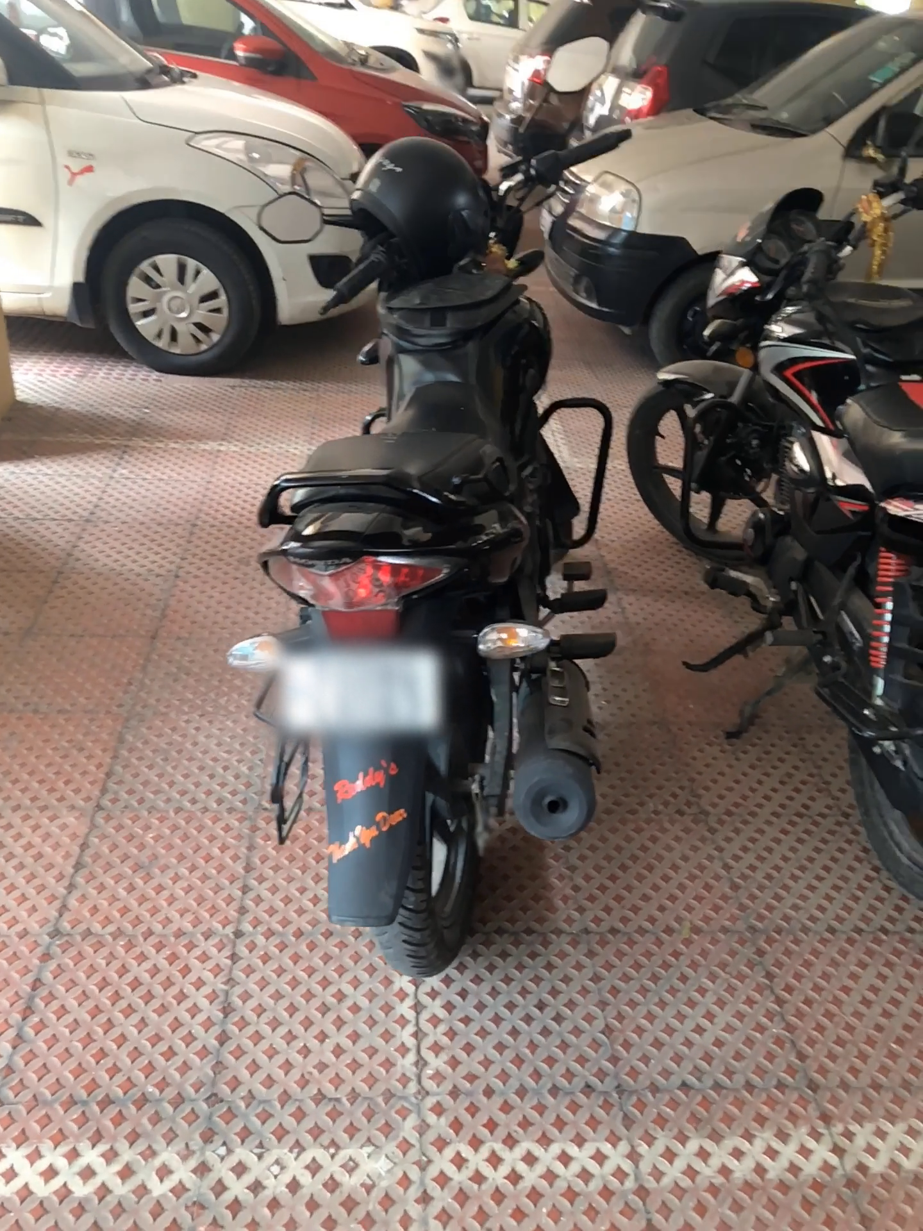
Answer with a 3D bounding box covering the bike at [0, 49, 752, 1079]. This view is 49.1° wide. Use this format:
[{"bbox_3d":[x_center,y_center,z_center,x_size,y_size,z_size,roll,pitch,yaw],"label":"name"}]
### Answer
[{"bbox_3d":[-0.168,-0.318,1.979,0.804,1.199,1.692,4,32,-1],"label":"bike"}]
